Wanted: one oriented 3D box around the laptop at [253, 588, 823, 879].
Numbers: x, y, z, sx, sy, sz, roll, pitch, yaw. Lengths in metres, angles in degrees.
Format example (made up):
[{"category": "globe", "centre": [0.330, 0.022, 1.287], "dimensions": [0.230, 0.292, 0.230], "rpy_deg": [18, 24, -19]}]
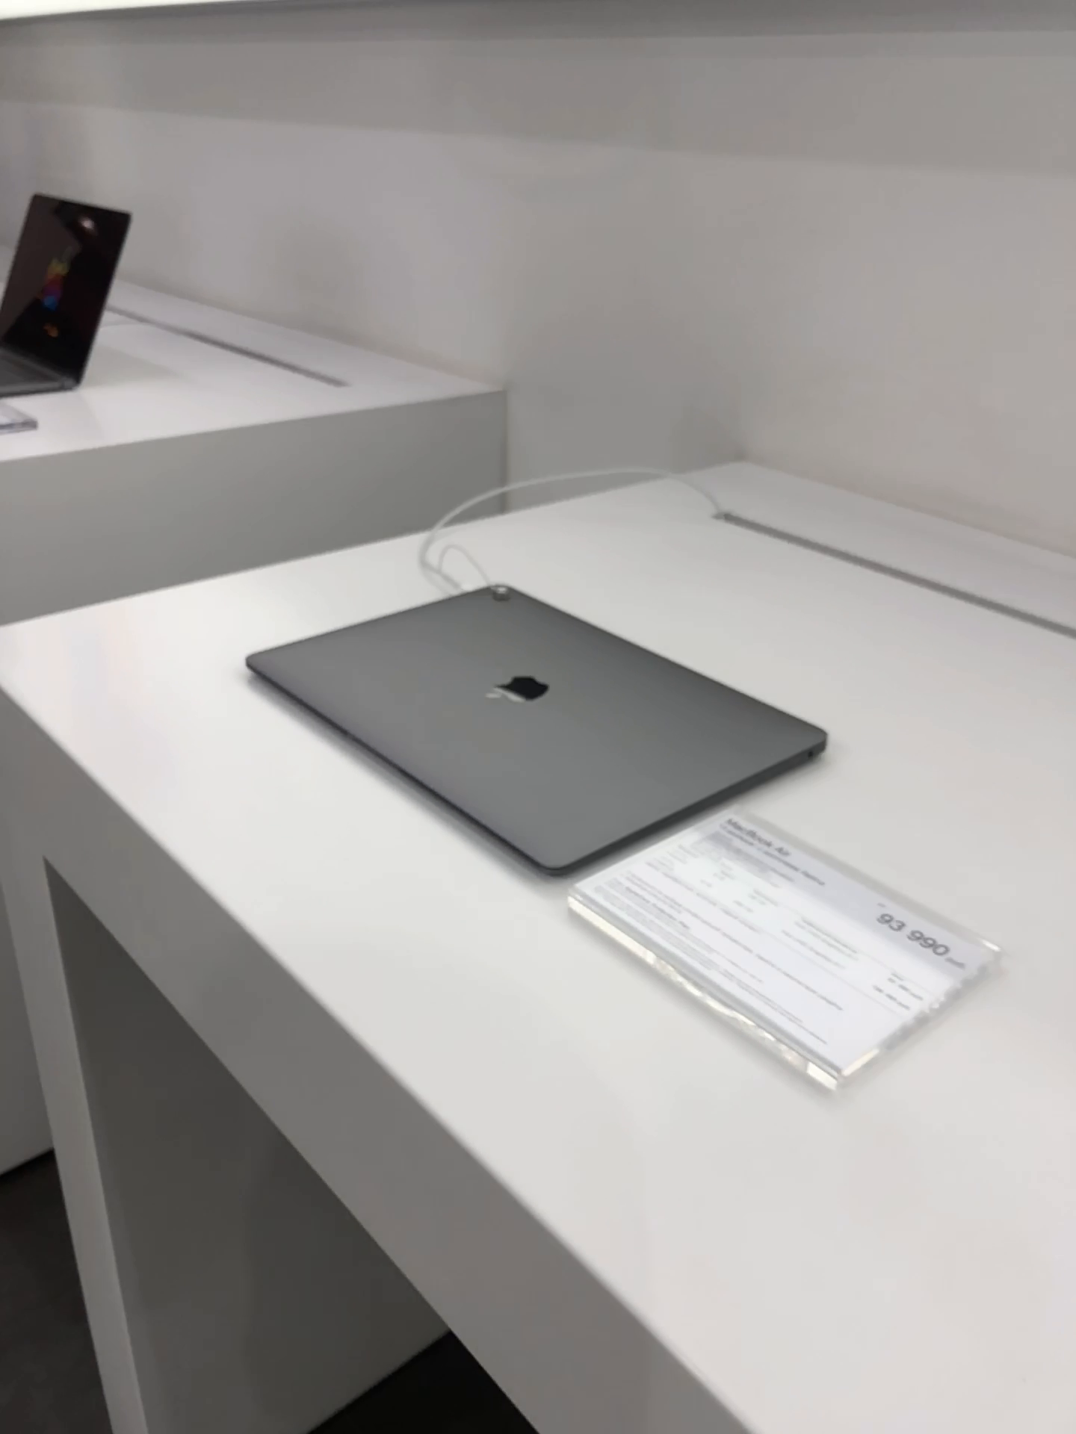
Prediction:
[{"category": "laptop", "centre": [-0.010, -0.009, 0.715], "dimensions": [0.205, 0.006, 0.293], "rpy_deg": [-21, 34, -35]}]
